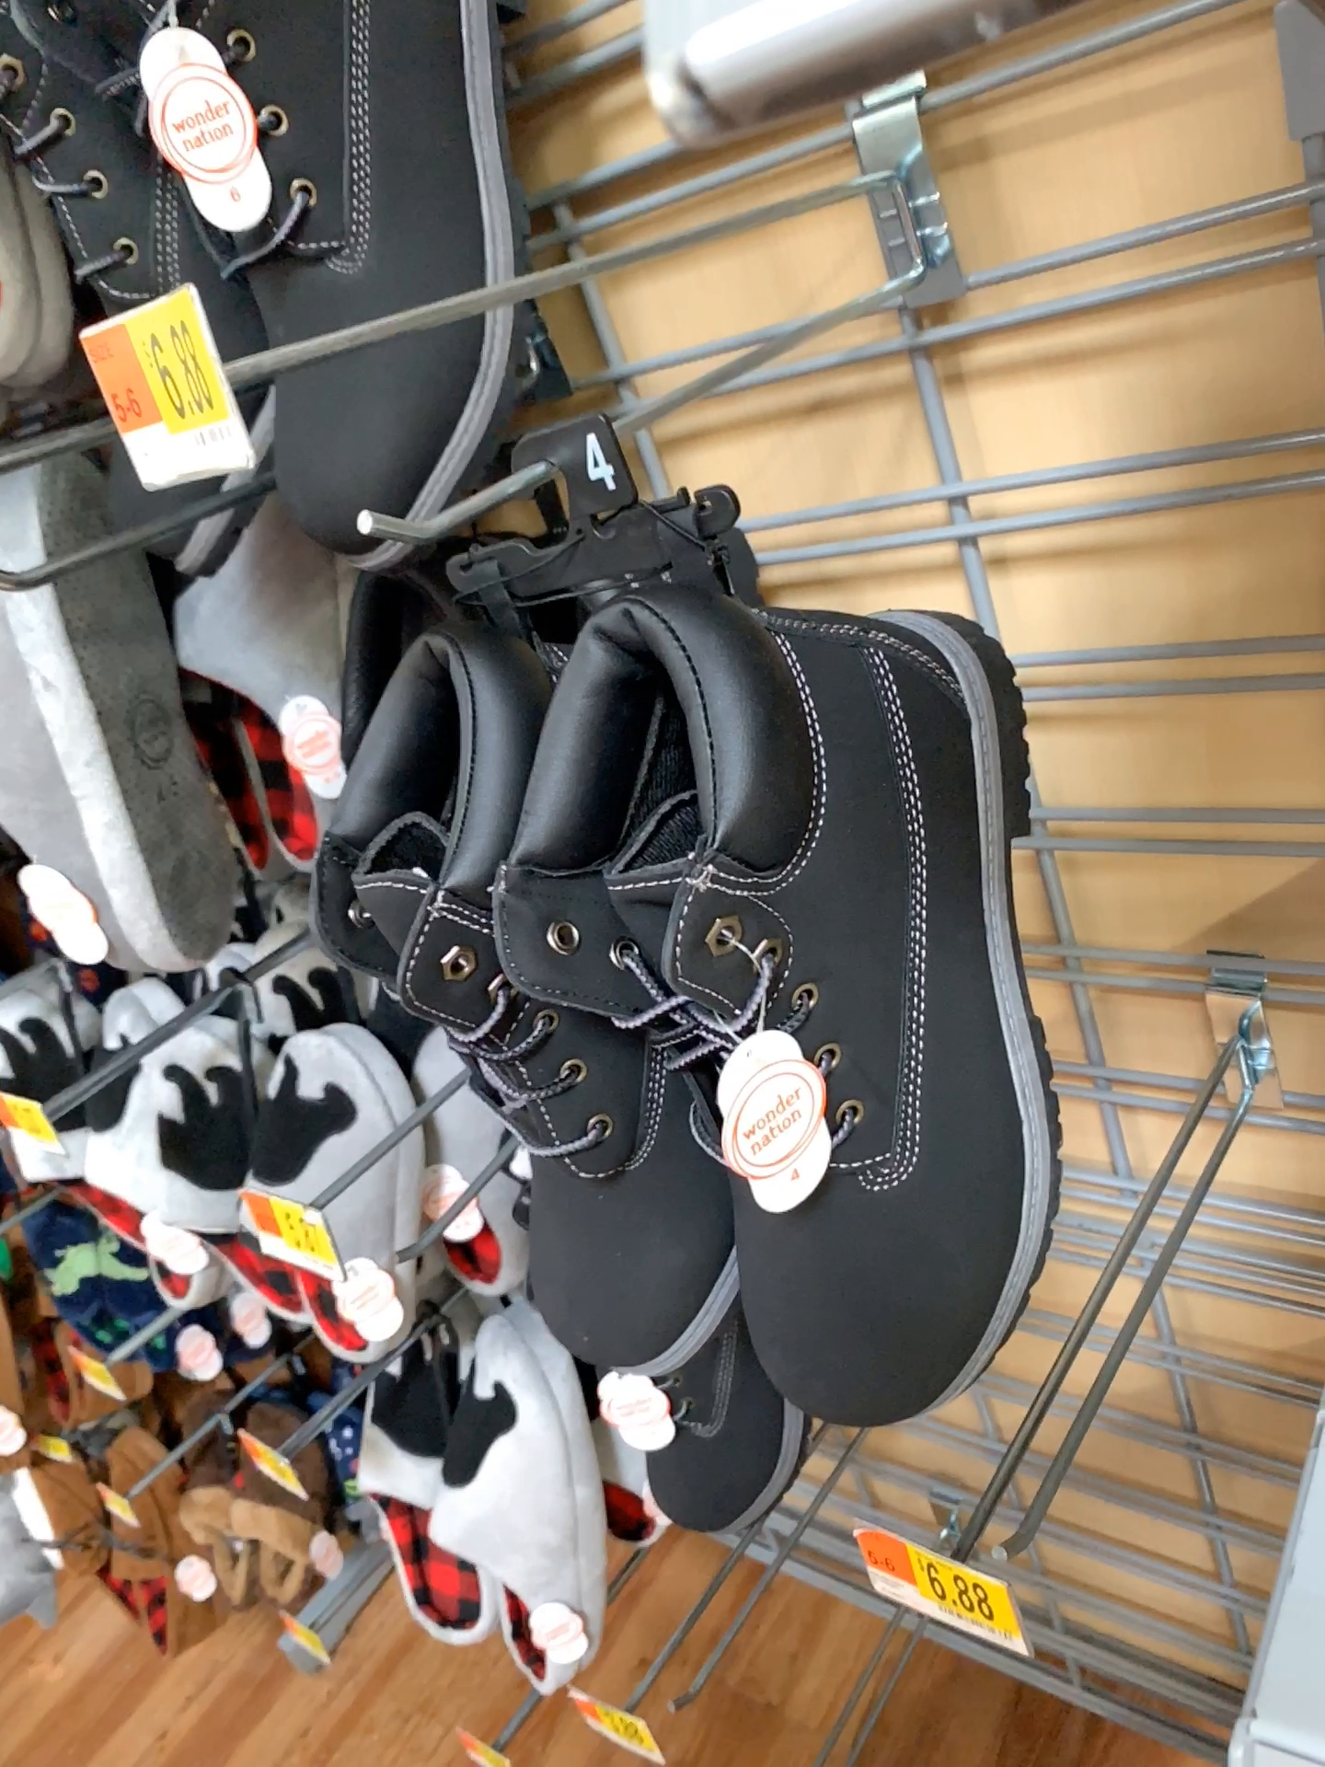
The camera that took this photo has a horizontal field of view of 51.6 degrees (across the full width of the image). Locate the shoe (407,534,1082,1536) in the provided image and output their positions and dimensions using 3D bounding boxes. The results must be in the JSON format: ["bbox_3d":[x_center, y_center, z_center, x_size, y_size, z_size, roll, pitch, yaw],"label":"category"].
[{"bbox_3d":[0.029,0.025,0.353,0.100,0.206,0.120,5,17,42],"label":"shoe"}]

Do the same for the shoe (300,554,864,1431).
[{"bbox_3d":[-0.018,0.023,0.426,0.100,0.229,0.109,6,19,41],"label":"shoe"}]
